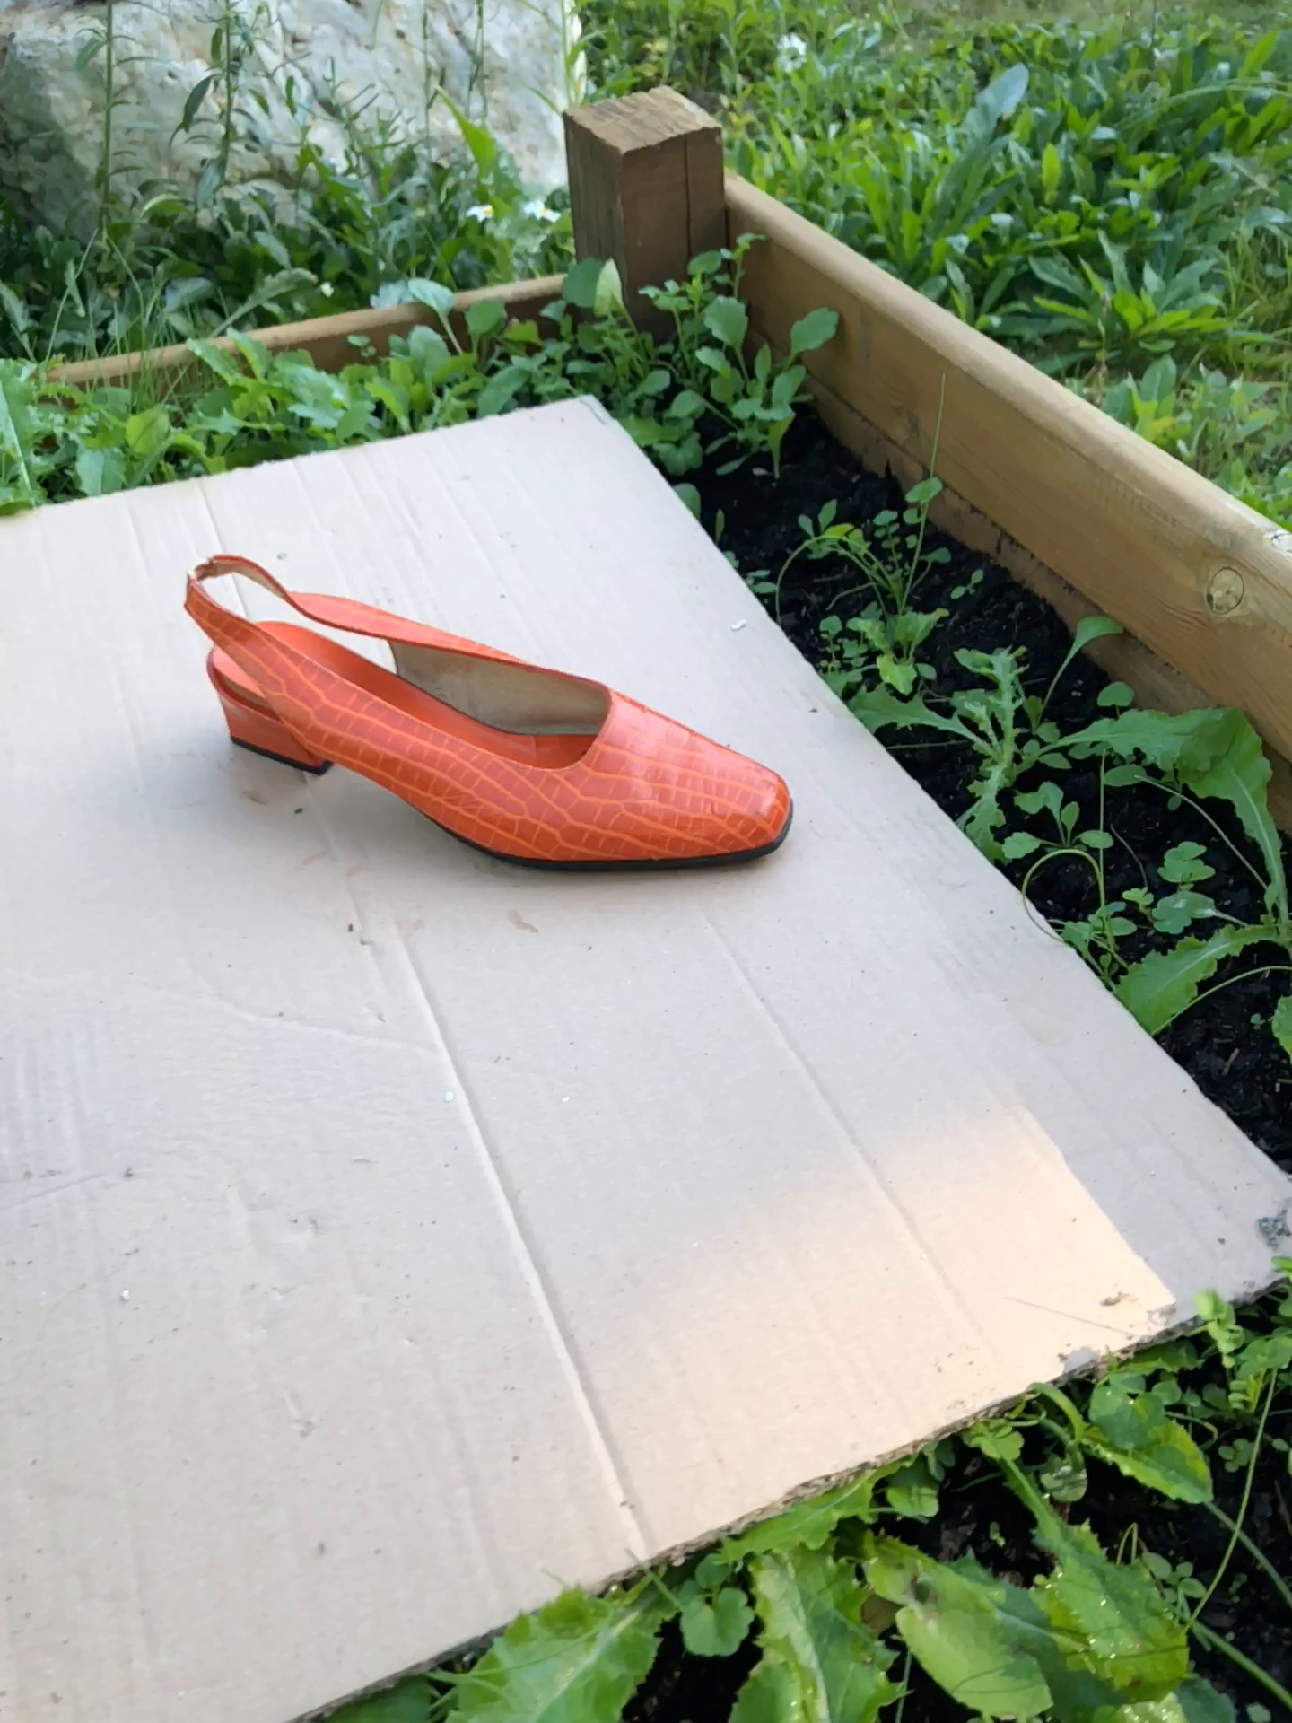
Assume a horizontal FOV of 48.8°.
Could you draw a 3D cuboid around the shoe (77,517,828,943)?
[{"bbox_3d":[-0.070,-0.056,0.552,0.260,0.089,0.091,11,42,13],"label":"shoe"}]
